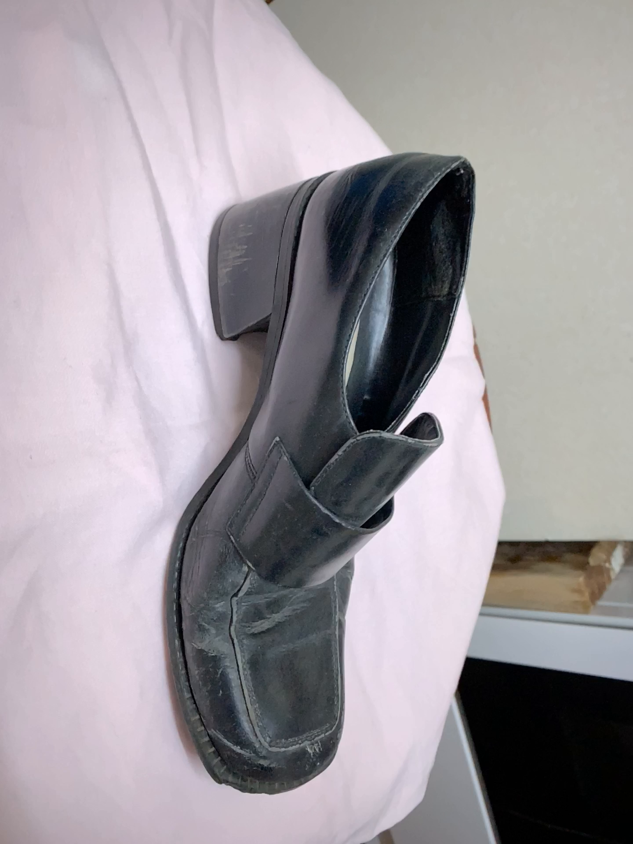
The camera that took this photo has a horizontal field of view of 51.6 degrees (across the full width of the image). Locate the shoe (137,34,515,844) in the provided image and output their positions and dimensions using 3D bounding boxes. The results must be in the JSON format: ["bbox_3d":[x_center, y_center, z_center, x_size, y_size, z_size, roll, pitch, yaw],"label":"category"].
[{"bbox_3d":[0.006,0.007,0.248,0.091,0.092,0.240,12,75,-42],"label":"shoe"}]
